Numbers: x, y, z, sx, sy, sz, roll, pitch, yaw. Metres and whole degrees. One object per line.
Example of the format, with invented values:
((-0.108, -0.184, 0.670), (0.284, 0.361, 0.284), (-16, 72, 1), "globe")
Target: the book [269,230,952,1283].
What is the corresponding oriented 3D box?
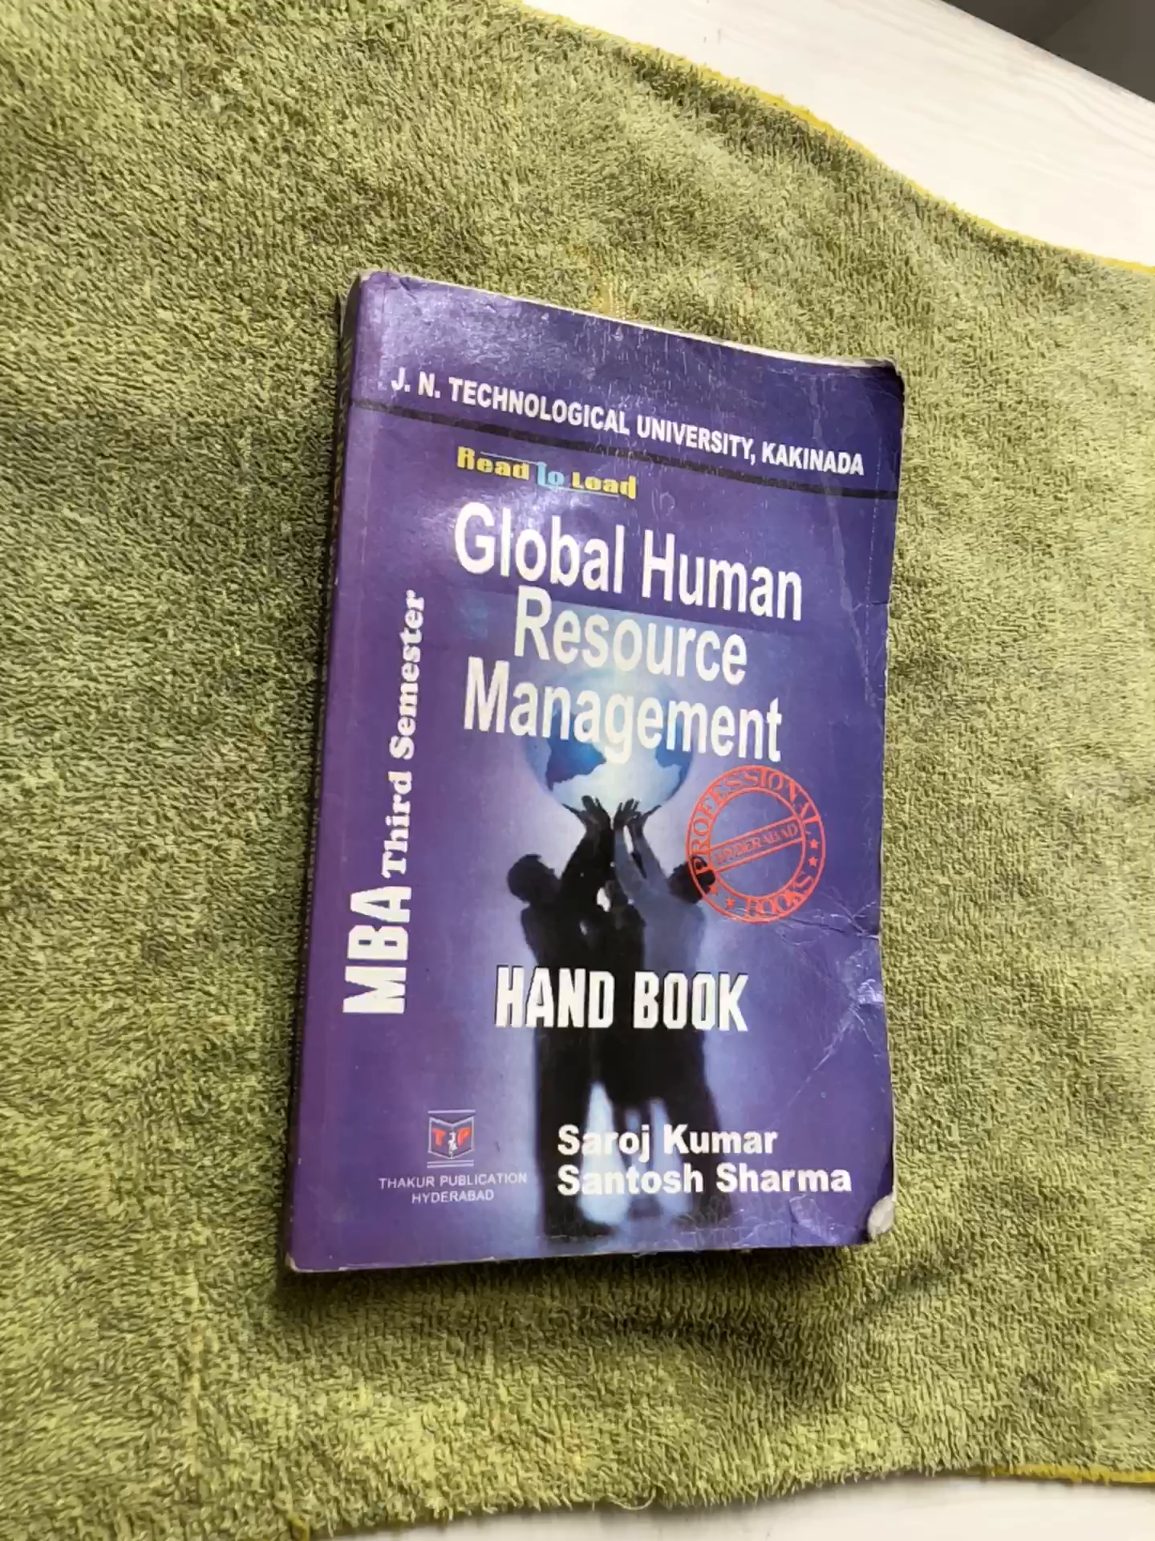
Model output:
((0.012, 0.000, 0.285), (0.140, 0.040, 0.200), (5, 82, -21), "book")
